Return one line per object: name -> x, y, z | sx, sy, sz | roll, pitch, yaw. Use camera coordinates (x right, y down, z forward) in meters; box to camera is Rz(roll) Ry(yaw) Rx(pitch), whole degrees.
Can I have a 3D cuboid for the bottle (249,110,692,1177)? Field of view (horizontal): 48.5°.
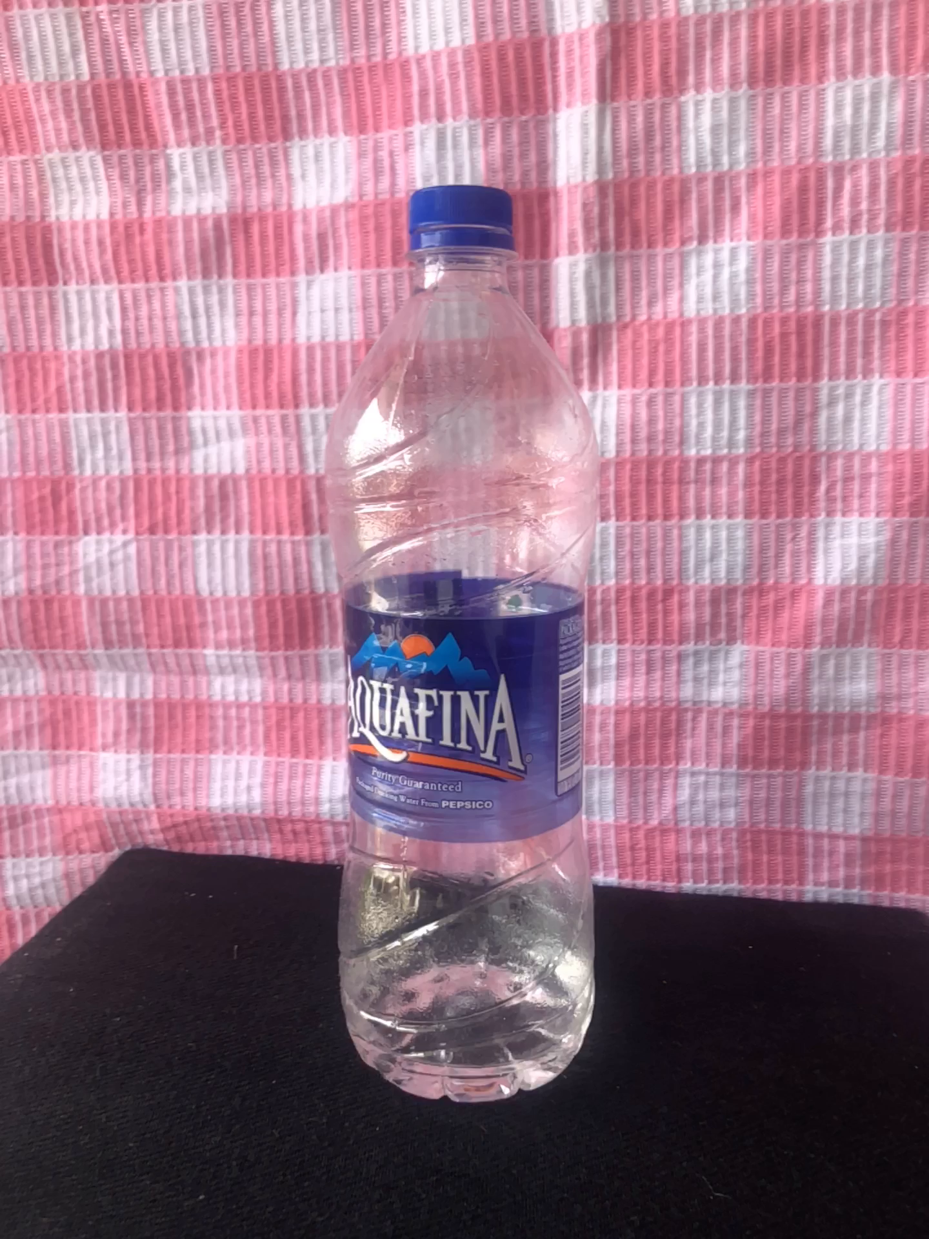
bottle -> 0.002, 0.008, 0.295 | 0.090, 0.259, 0.070 | 9, 16, 33
